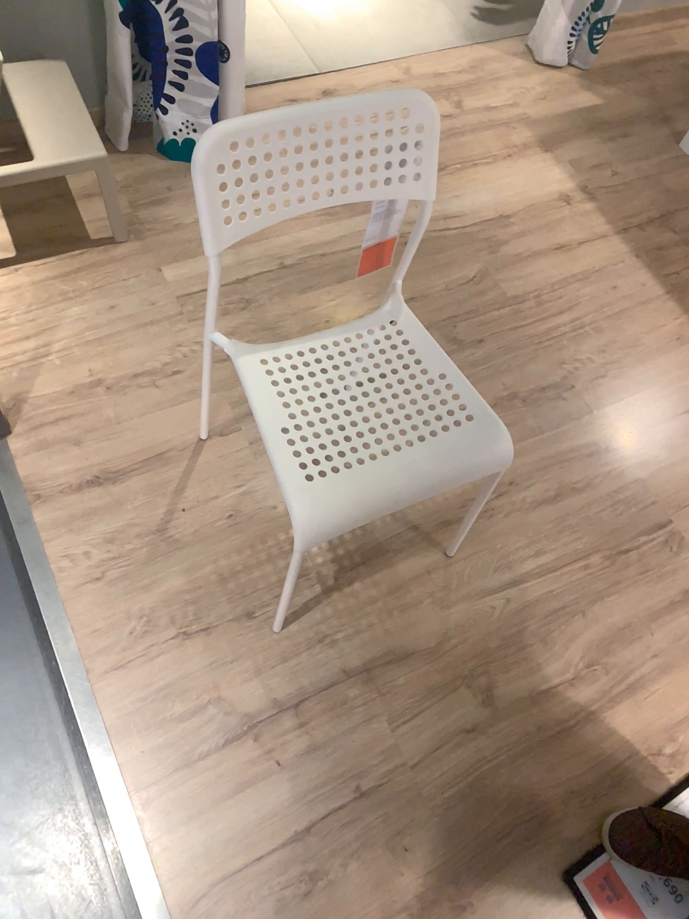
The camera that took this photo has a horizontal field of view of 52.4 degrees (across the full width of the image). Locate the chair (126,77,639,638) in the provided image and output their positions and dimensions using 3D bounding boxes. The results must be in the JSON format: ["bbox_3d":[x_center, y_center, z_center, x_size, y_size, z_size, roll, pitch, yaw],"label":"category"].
[{"bbox_3d":[-0.007,-0.122,1.112,0.430,0.609,0.530,-21,68,-19],"label":"chair"}]
